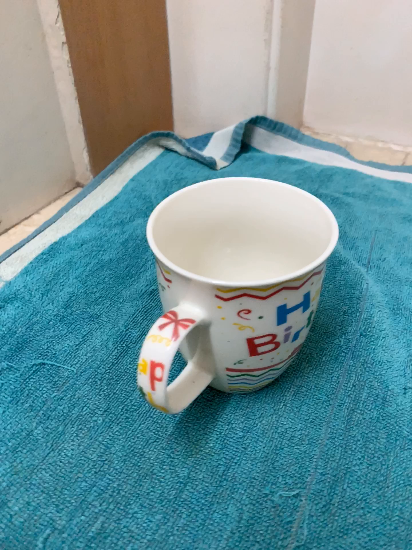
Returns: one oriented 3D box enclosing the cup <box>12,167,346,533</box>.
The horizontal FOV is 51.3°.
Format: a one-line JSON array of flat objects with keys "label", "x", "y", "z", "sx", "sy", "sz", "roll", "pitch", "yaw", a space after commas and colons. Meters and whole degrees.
[{"label": "cup", "x": -0.001, "y": 0.025, "z": 0.220, "sx": 0.090, "sy": 0.099, "sz": 0.131, "roll": 20, "pitch": 44, "yaw": 24}]
